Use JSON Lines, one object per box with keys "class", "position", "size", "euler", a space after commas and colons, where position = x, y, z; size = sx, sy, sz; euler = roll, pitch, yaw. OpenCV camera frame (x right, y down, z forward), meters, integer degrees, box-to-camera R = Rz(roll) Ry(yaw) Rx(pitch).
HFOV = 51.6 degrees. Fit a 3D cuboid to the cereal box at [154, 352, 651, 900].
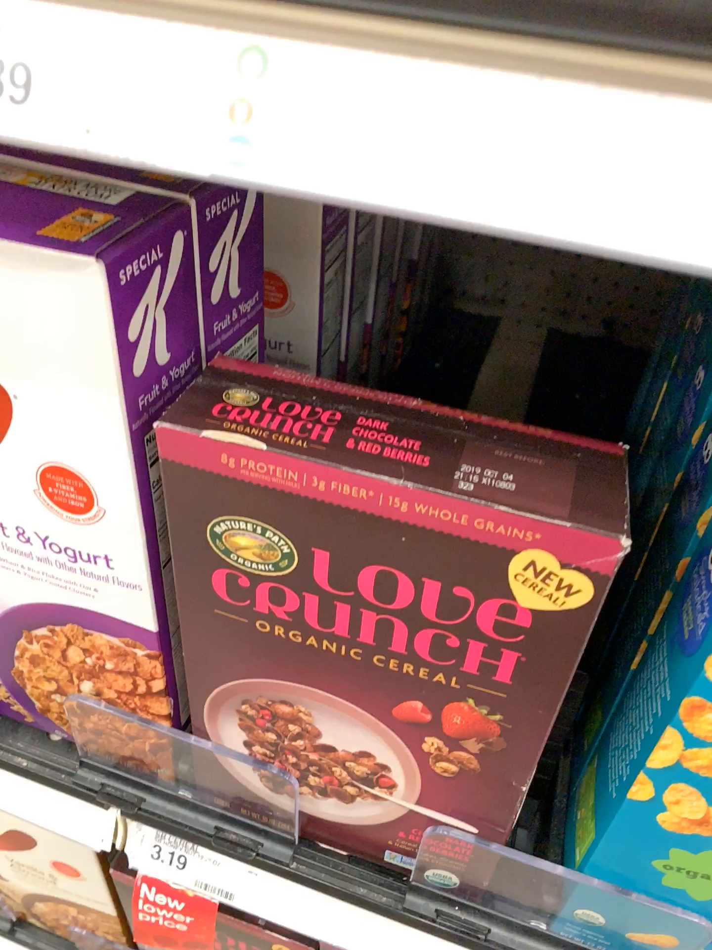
{"class": "cereal box", "position": [0.008, 0.083, 0.326], "size": [0.160, 0.249, 0.050], "euler": [14, 40, 11]}
